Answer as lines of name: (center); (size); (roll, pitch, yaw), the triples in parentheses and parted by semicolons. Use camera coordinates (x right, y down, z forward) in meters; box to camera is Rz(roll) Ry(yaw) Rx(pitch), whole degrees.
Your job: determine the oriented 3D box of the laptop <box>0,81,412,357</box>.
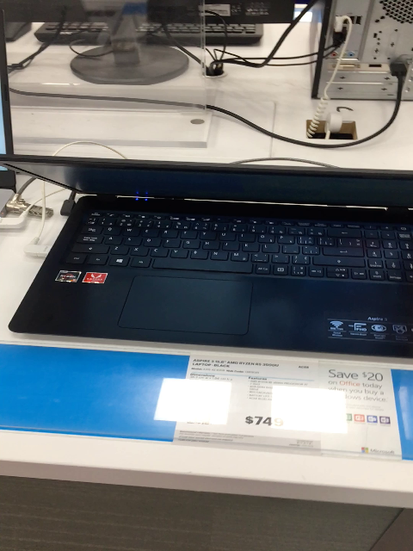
laptop: (0.033, -0.062, 0.491); (0.395, 0.157, 0.221); (3, 44, 6)
